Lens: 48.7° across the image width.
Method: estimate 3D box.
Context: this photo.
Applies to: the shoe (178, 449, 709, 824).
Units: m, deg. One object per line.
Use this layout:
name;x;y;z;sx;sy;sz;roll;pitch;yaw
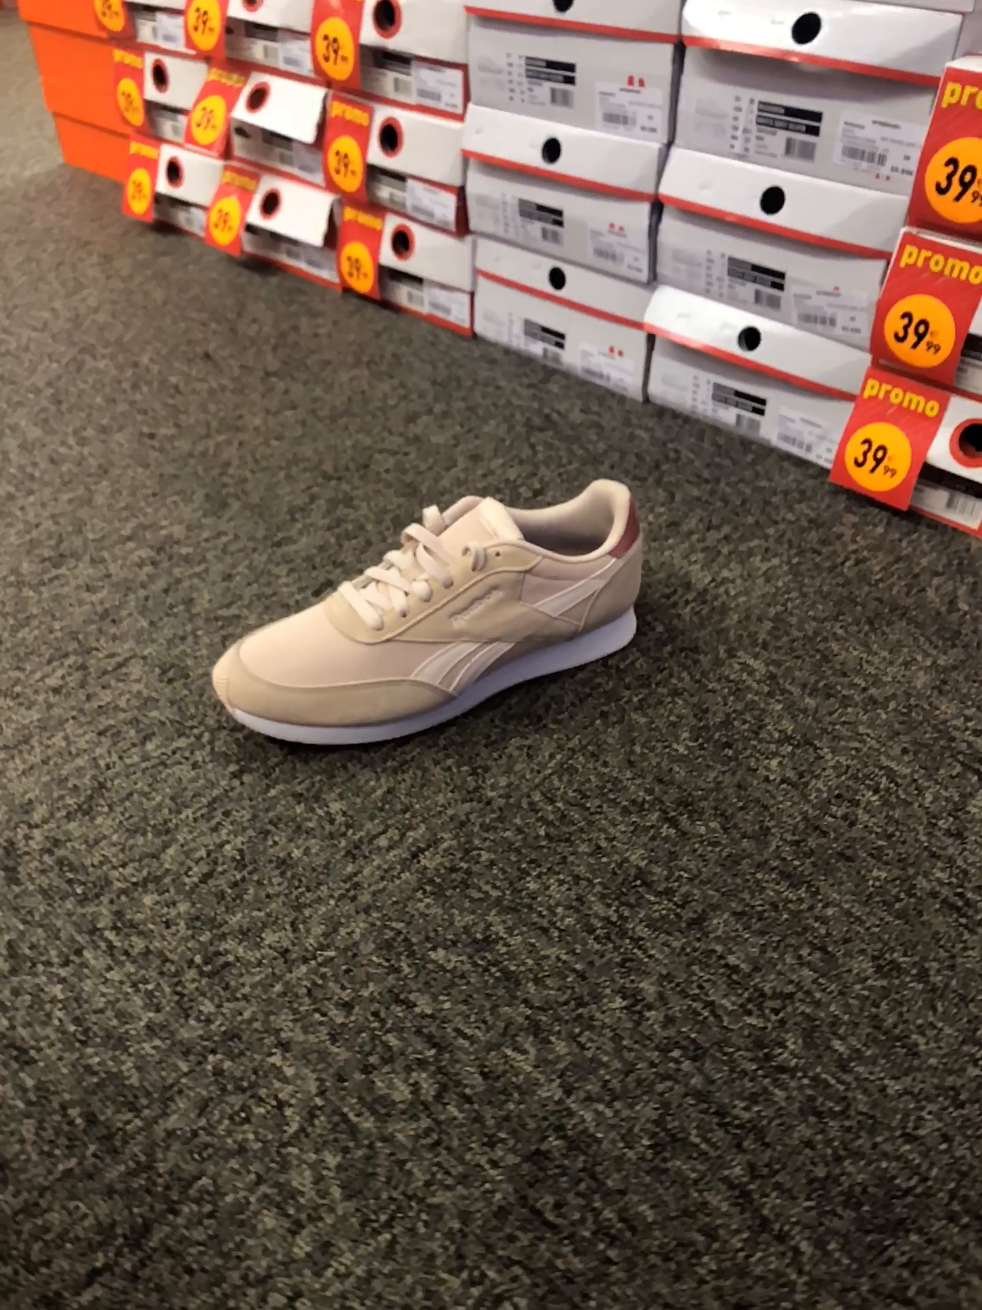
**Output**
shoe;-0.023;-0.018;0.621;0.271;0.109;0.100;-17;42;-19
